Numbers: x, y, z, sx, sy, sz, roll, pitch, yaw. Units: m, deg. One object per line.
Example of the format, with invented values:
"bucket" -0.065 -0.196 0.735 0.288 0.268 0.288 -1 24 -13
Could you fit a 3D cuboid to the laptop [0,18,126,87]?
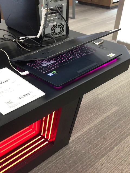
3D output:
"laptop" 0.002 -0.170 0.727 0.366 0.119 0.277 -32 50 -31
